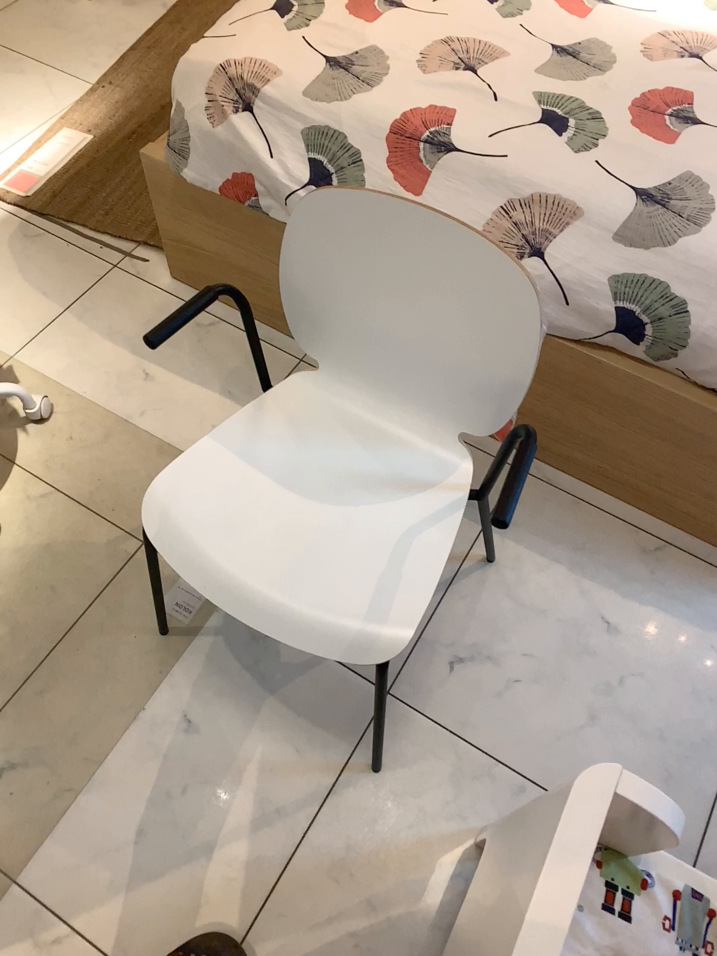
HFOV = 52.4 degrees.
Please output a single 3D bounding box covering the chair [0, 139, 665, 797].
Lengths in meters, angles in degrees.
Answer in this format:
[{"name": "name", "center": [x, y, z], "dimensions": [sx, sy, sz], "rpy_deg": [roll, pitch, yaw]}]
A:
[{"name": "chair", "center": [-0.018, 0.033, 1.114], "dimensions": [0.550, 0.699, 0.541], "rpy_deg": [28, 62, 14]}]
